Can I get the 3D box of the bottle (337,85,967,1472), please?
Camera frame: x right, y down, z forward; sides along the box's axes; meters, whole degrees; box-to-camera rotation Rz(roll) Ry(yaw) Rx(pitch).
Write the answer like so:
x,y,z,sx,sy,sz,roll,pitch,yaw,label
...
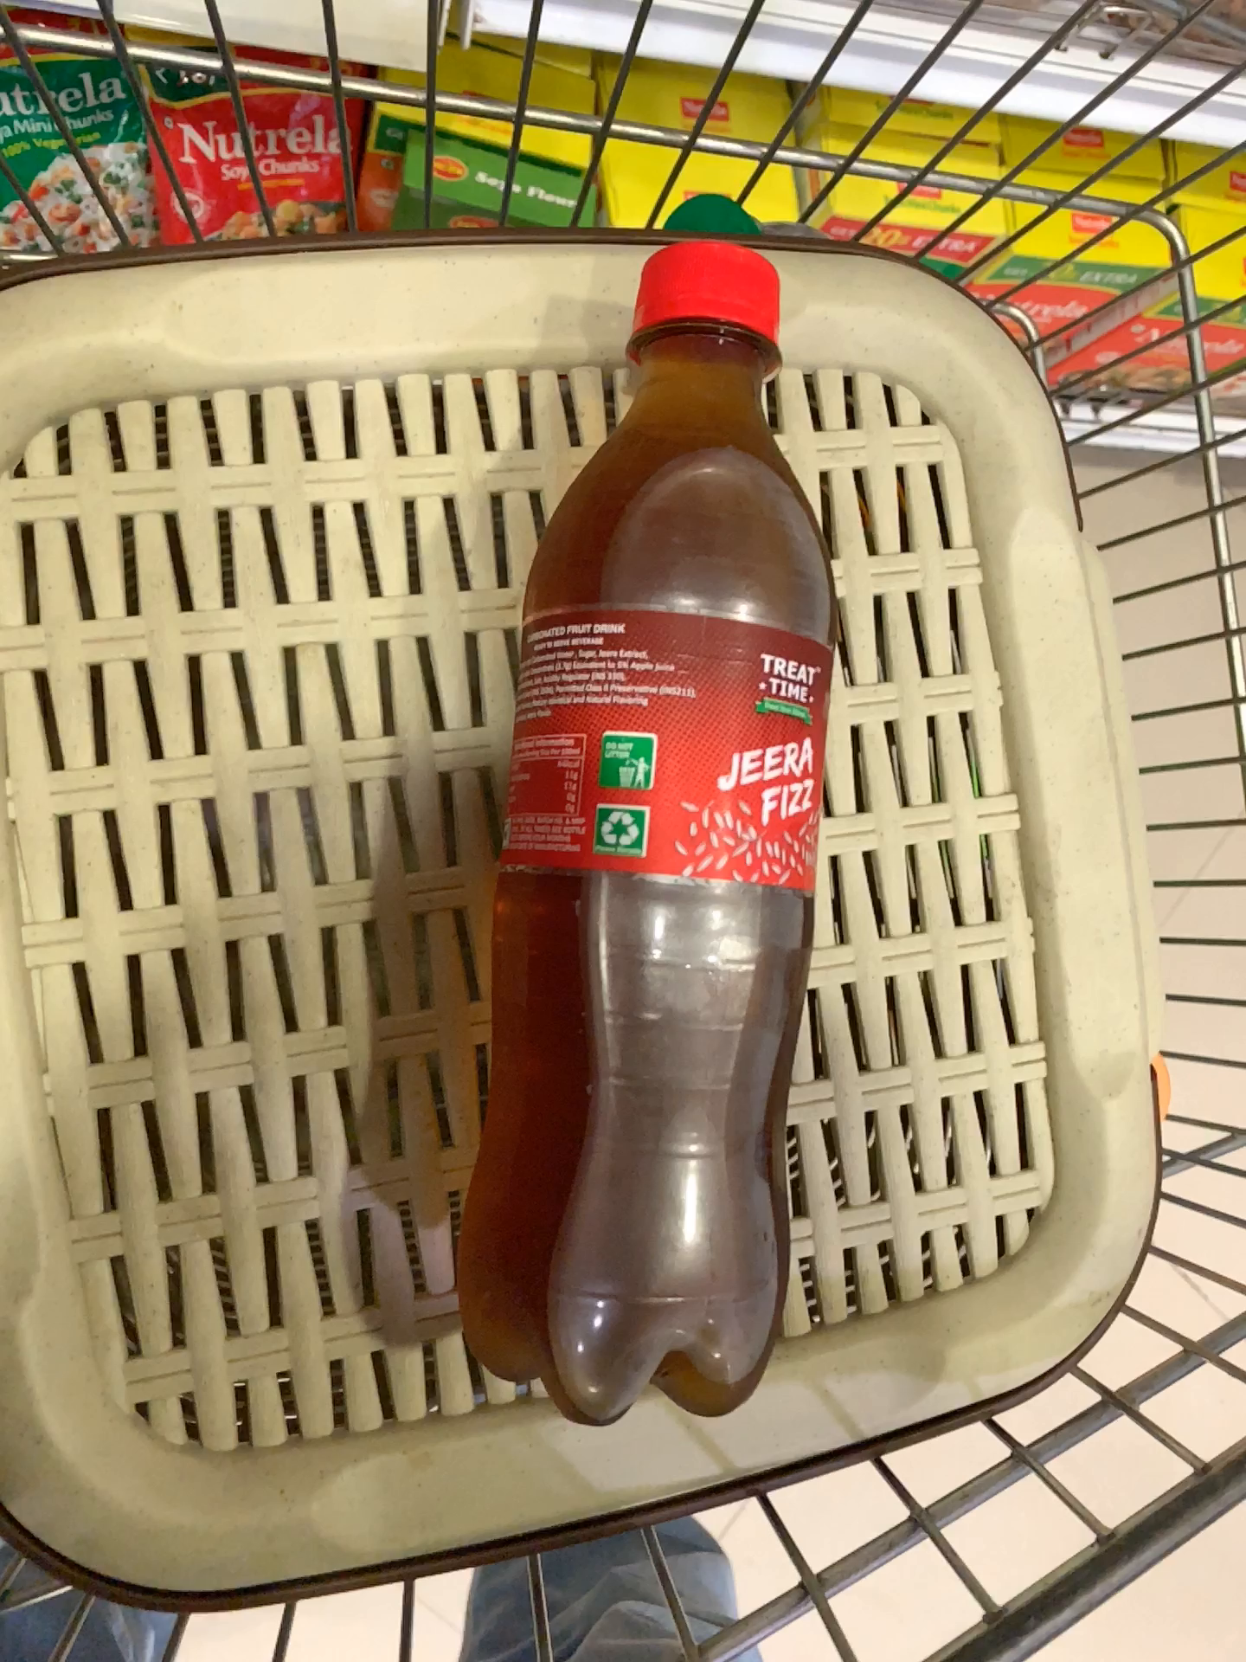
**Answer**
x,y,z,sx,sy,sz,roll,pitch,yaw,label
0.007,-0.008,0.263,0.080,0.070,0.230,9,85,-38,bottle
